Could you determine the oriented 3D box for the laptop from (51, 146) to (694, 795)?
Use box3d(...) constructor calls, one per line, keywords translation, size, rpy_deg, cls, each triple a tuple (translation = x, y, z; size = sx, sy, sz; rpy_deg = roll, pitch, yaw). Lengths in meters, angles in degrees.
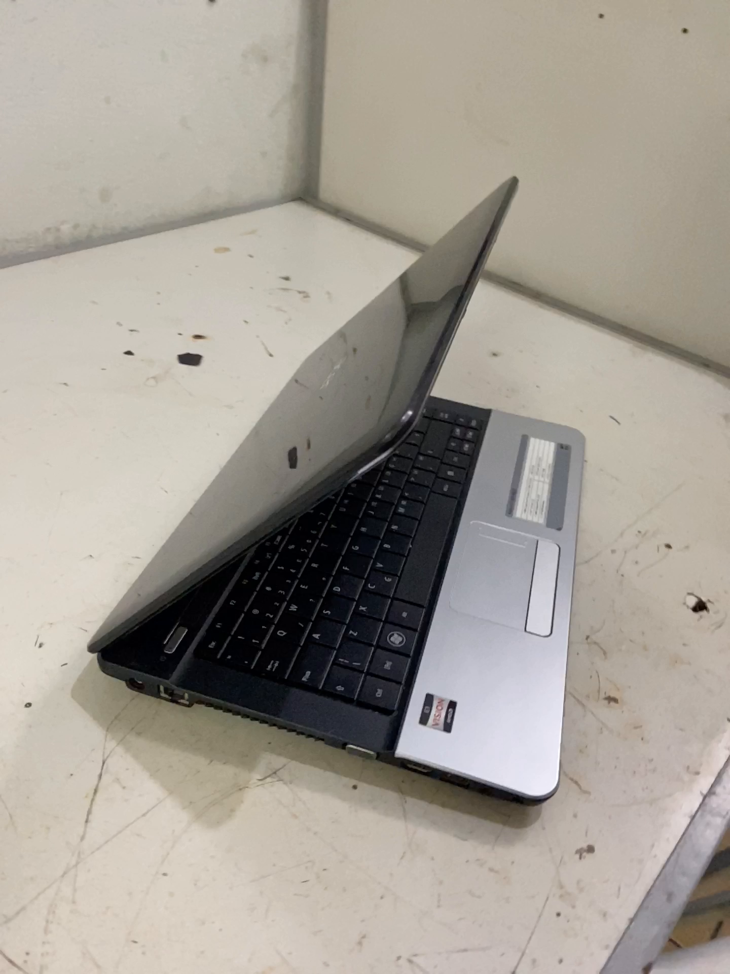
box3d(translation=(0.031, -0.050, 0.452), size=(0.238, 0.184, 0.336), rpy_deg=(14, 38, 9), cls="laptop")
